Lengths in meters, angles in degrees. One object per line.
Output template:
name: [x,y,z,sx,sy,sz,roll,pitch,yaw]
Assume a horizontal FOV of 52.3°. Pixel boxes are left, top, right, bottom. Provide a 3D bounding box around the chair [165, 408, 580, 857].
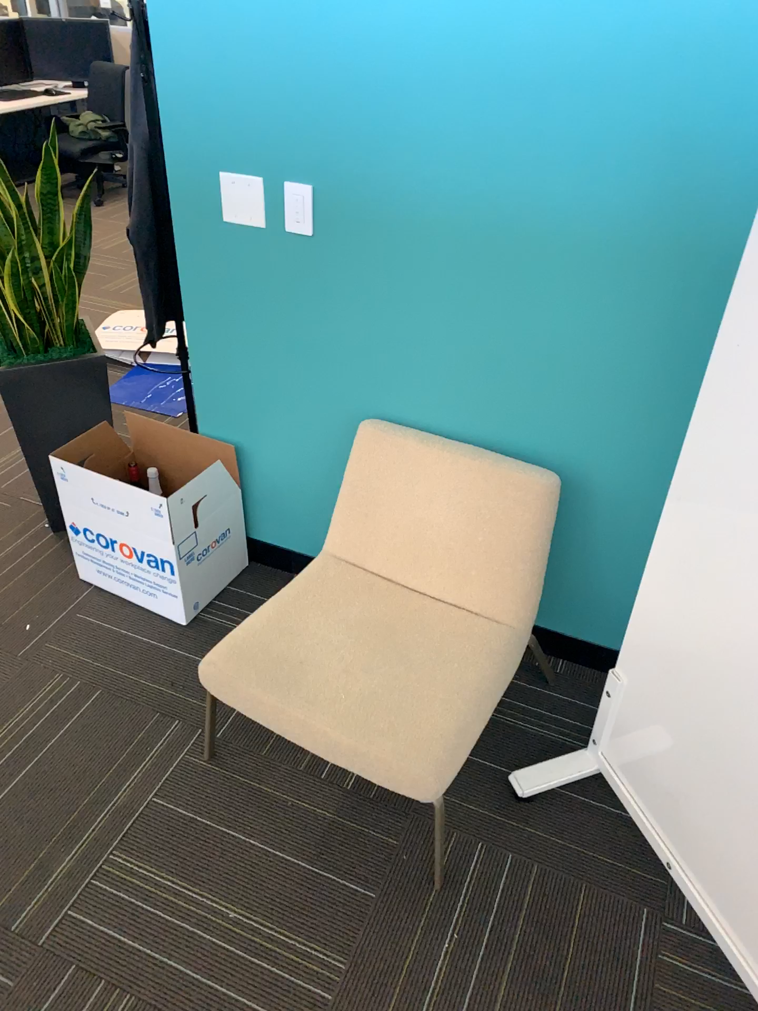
chair: [0.015,0.245,1.893,0.661,0.567,0.733,19,39,22]
